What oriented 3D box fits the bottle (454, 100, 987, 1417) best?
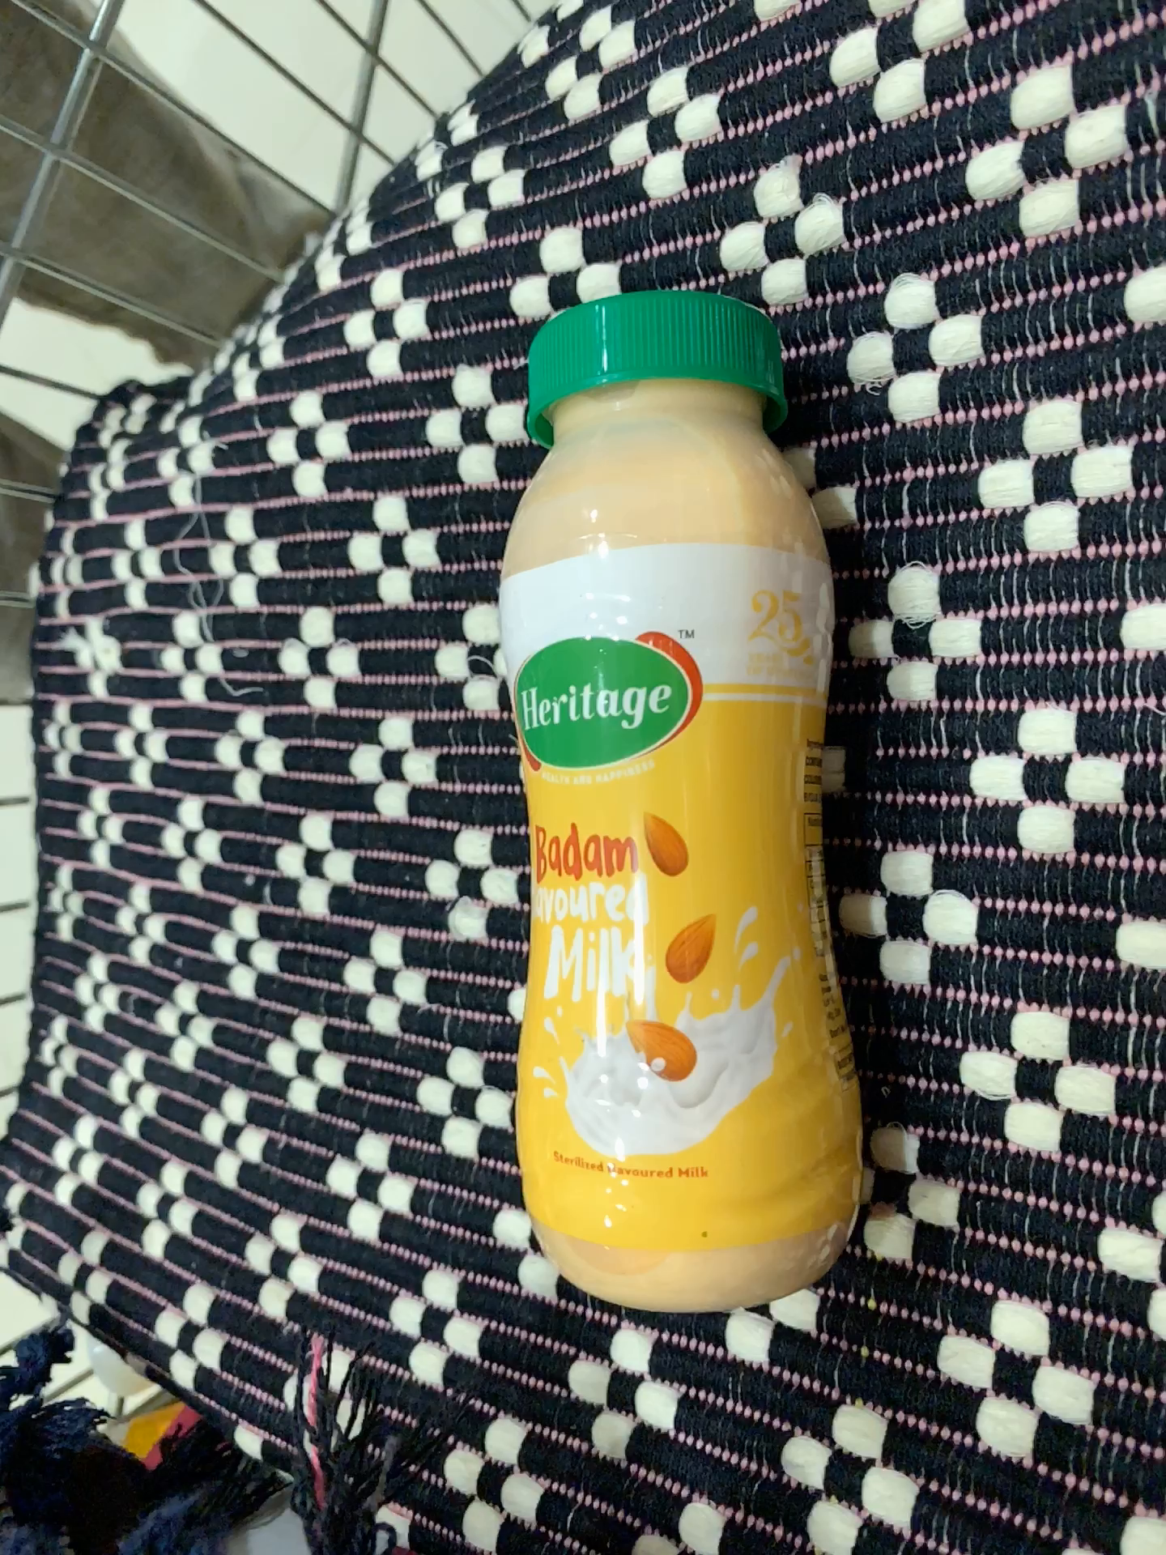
[{"bbox_3d":[0.020,-0.003,0.170,0.060,0.040,0.150,-2,84,31],"label":"bottle"}]
